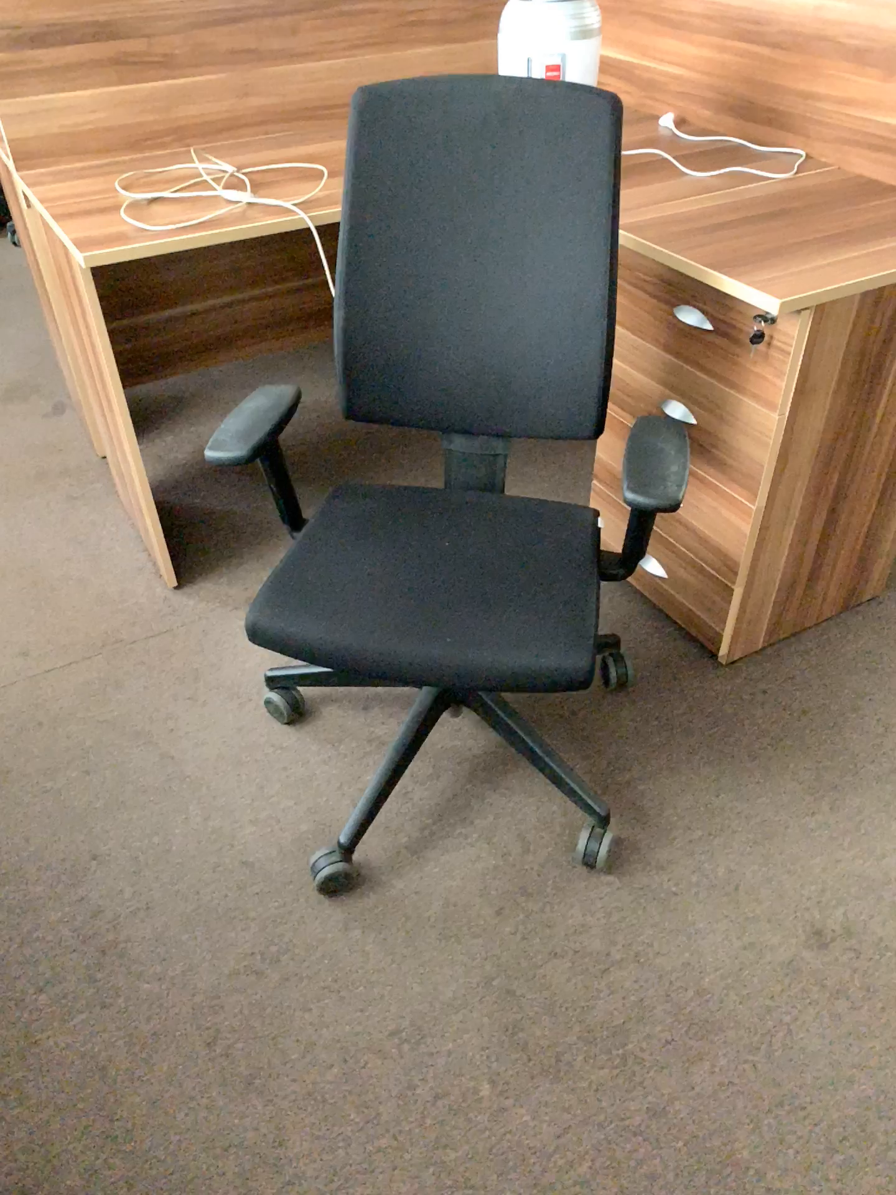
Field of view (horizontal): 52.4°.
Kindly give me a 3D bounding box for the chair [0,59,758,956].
[{"bbox_3d":[-0.022,-0.161,1.286,0.670,0.915,0.794,6,40,10],"label":"chair"}]
